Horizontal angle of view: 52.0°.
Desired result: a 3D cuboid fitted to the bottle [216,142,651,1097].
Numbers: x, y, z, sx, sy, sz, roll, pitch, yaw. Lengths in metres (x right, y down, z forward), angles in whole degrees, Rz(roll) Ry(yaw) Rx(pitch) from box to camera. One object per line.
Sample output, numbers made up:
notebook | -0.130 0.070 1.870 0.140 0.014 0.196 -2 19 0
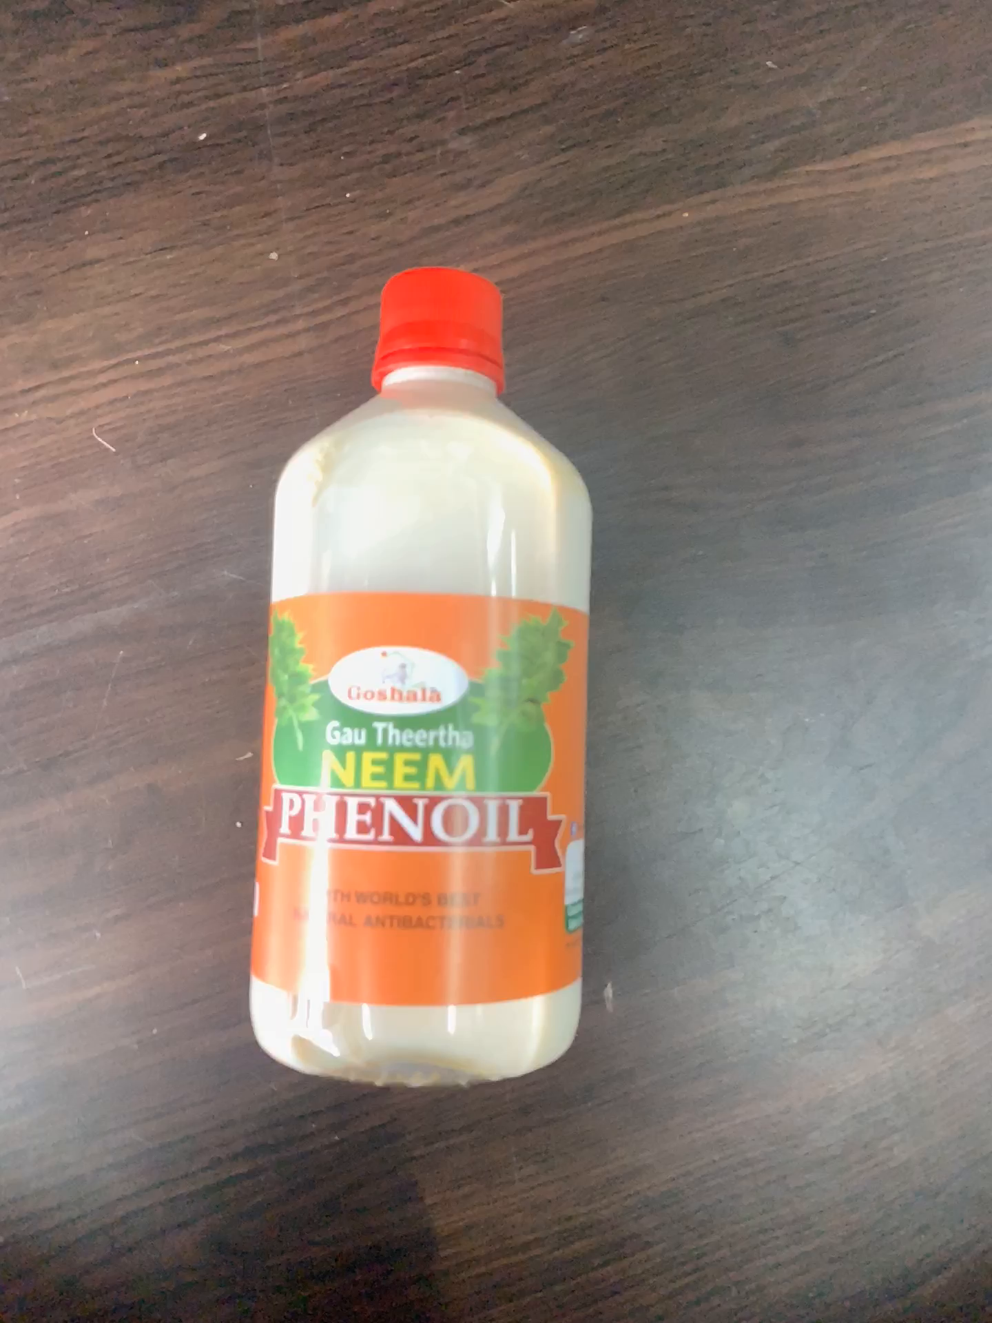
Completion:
bottle | -0.013 -0.008 0.240 0.080 0.070 0.190 2 87 -2
